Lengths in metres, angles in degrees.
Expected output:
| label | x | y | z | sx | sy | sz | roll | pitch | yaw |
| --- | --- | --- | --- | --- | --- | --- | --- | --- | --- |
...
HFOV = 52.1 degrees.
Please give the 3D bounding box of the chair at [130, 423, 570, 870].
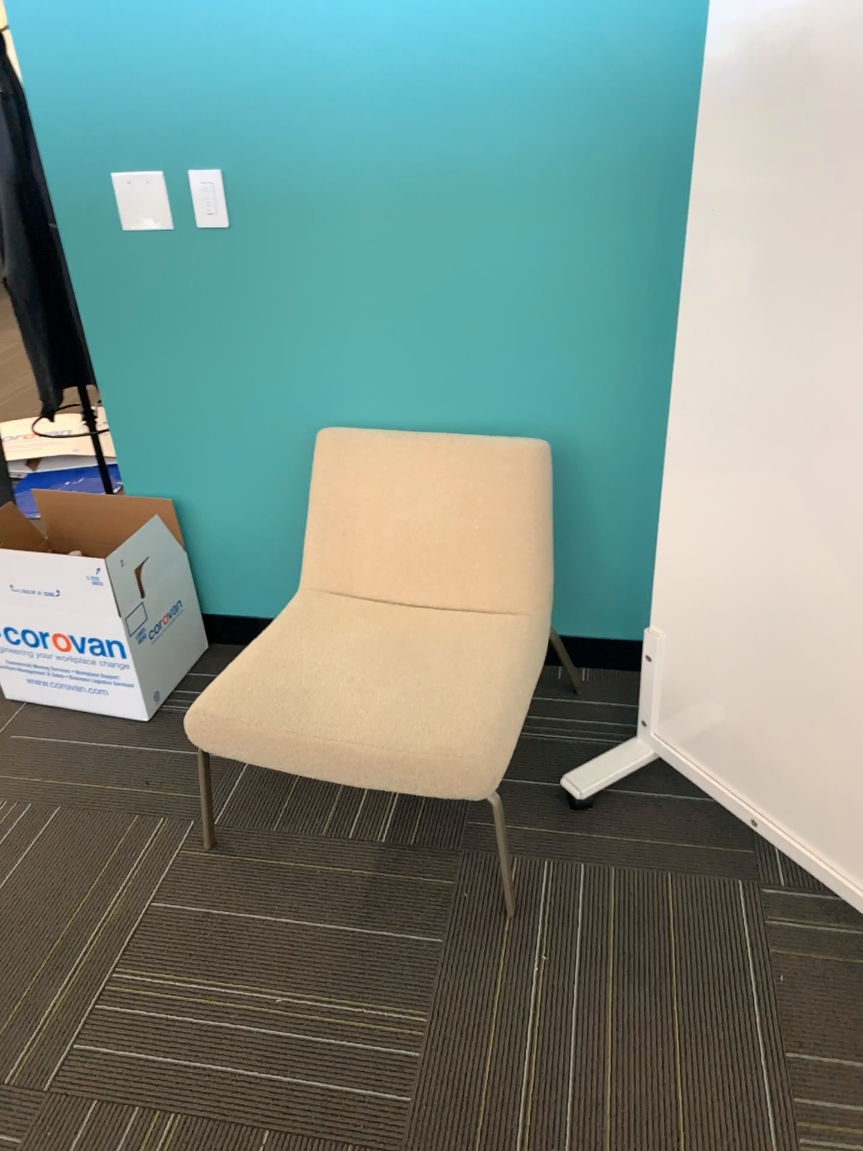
| label | x | y | z | sx | sy | sz | roll | pitch | yaw |
| --- | --- | --- | --- | --- | --- | --- | --- | --- | --- |
| chair | -0.093 | 0.089 | 1.894 | 0.661 | 0.567 | 0.733 | 6 | 31 | 15 |
